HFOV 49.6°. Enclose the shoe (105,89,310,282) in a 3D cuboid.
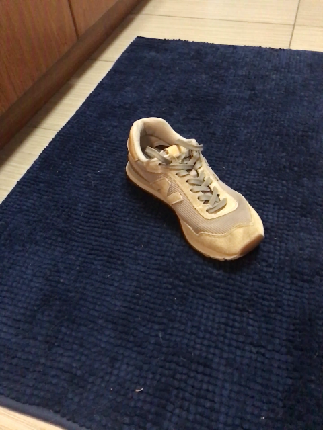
[{"bbox_3d":[0.048,-0.061,0.513,0.130,0.099,0.281,-28,52,-19],"label":"shoe"}]
